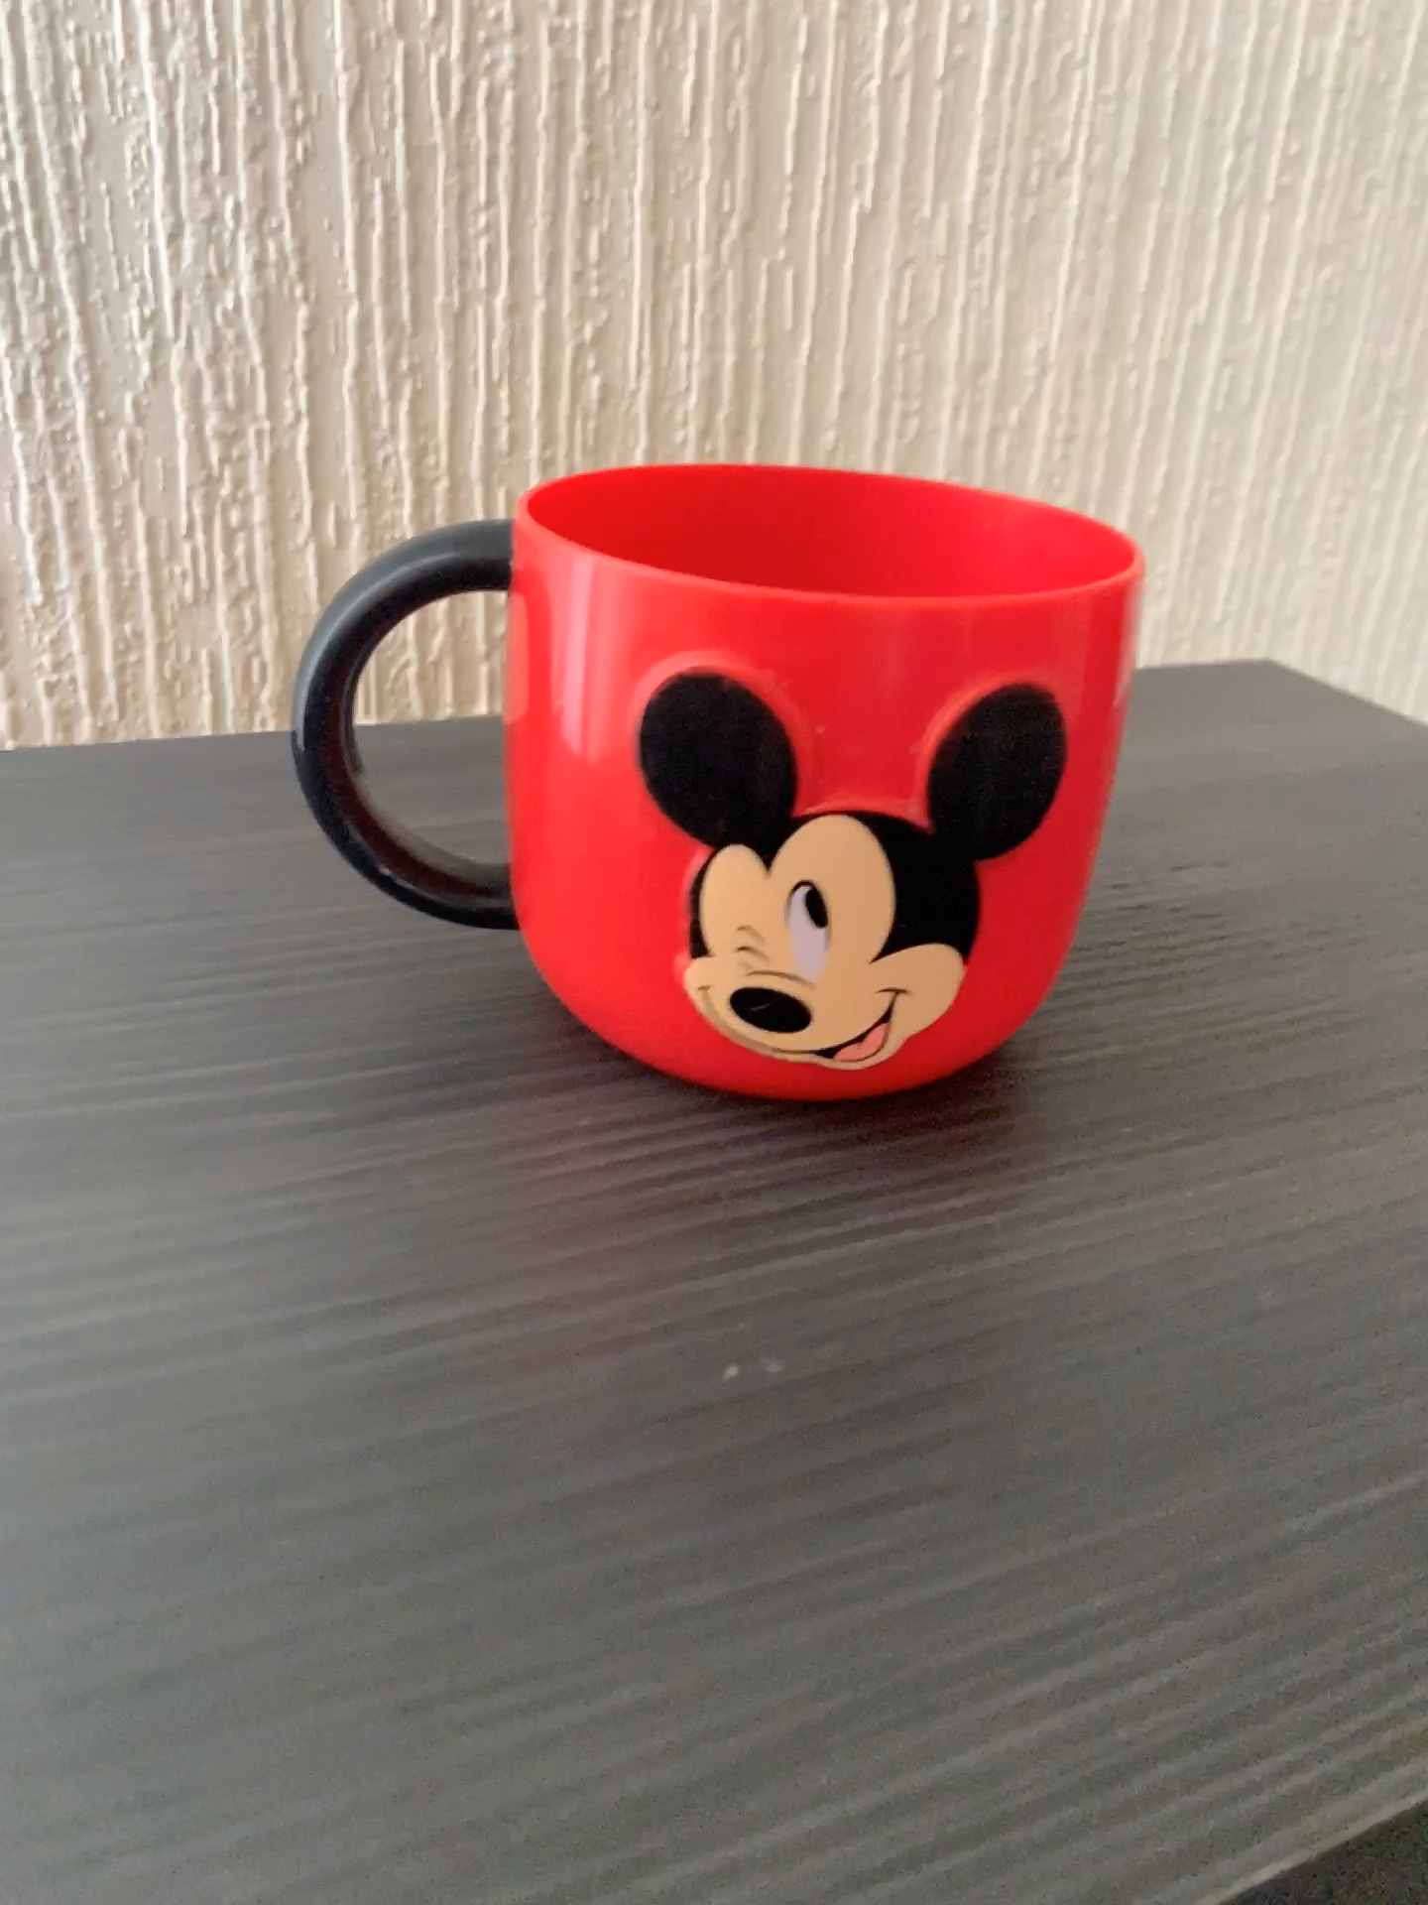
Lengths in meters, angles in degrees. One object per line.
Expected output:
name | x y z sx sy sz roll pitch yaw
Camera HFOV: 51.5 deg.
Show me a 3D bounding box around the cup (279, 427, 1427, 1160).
cup | 0.010 -0.030 0.218 0.130 0.069 0.101 -1 27 -10
